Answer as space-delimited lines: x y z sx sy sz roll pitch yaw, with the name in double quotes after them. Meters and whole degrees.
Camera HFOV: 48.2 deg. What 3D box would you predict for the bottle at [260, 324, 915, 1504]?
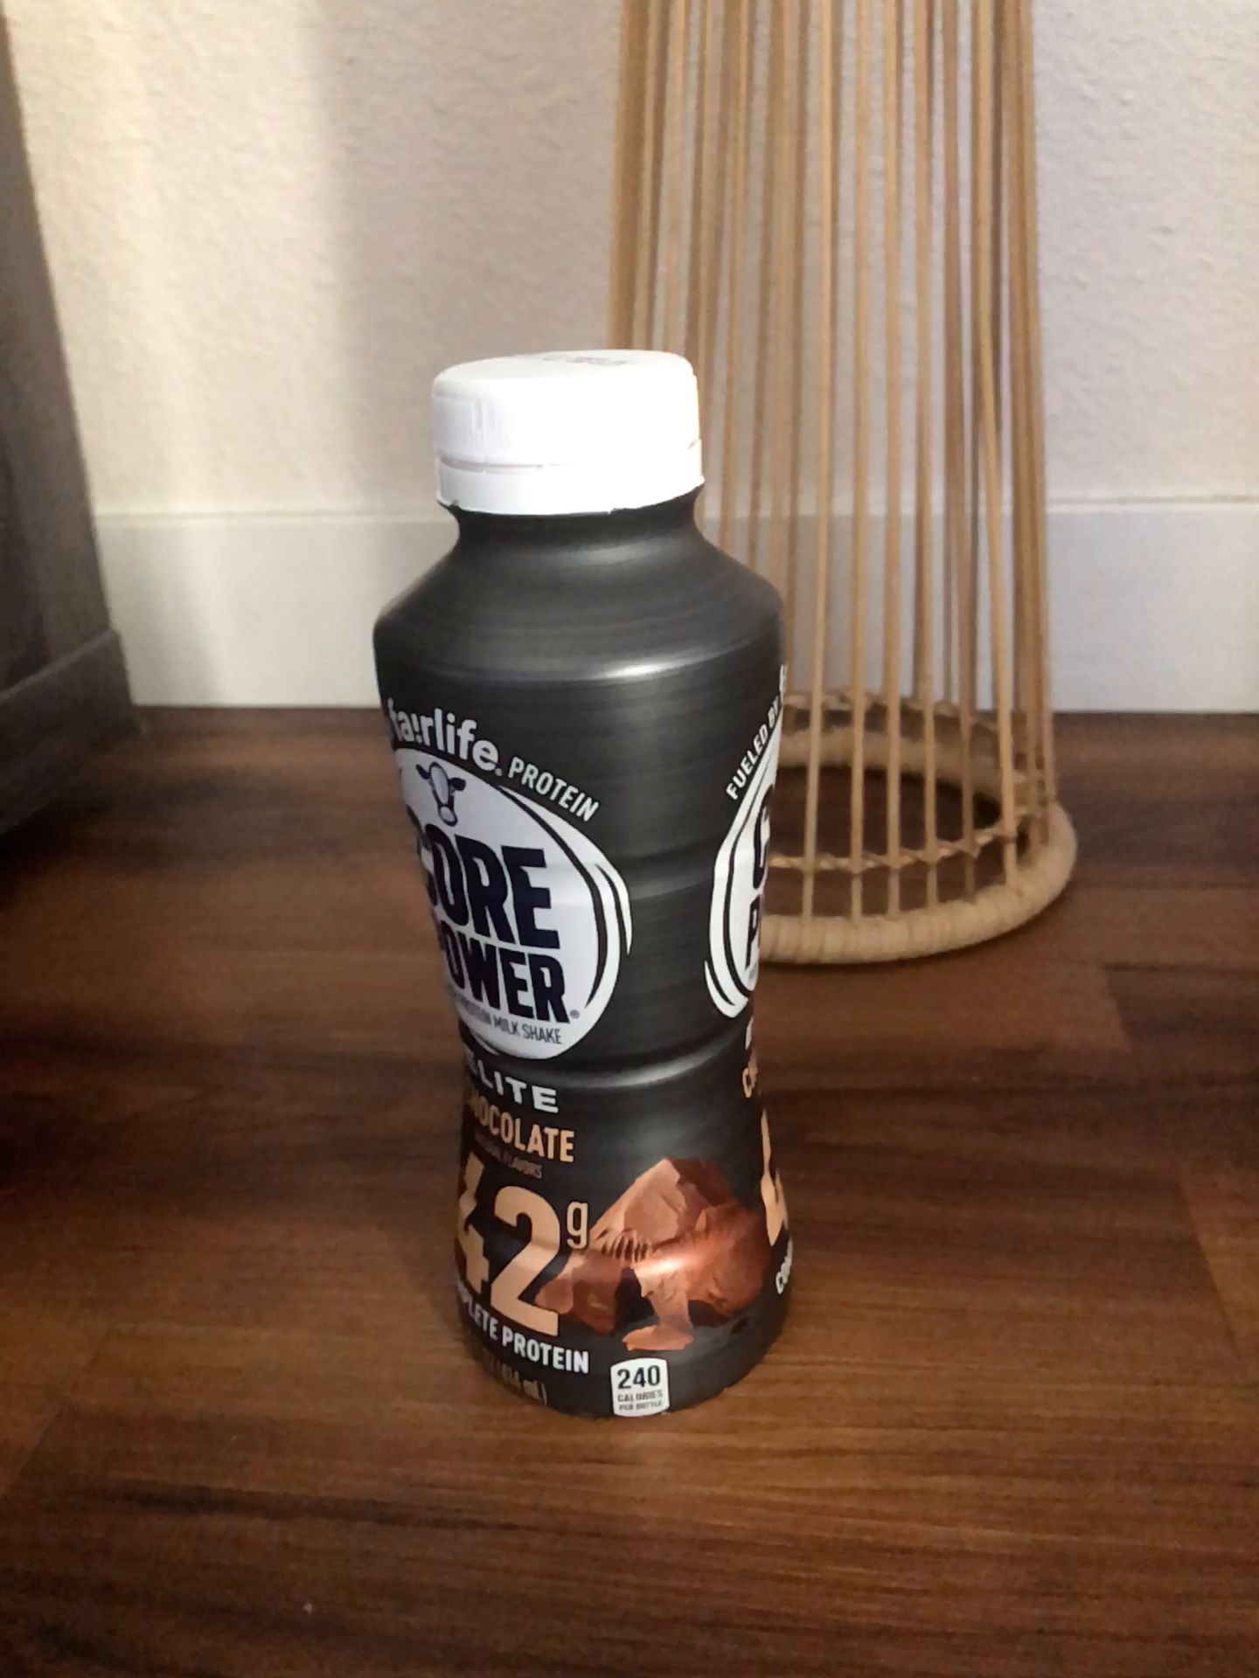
-0.001 0.010 0.250 0.070 0.184 0.070 -3 24 1 "bottle"
